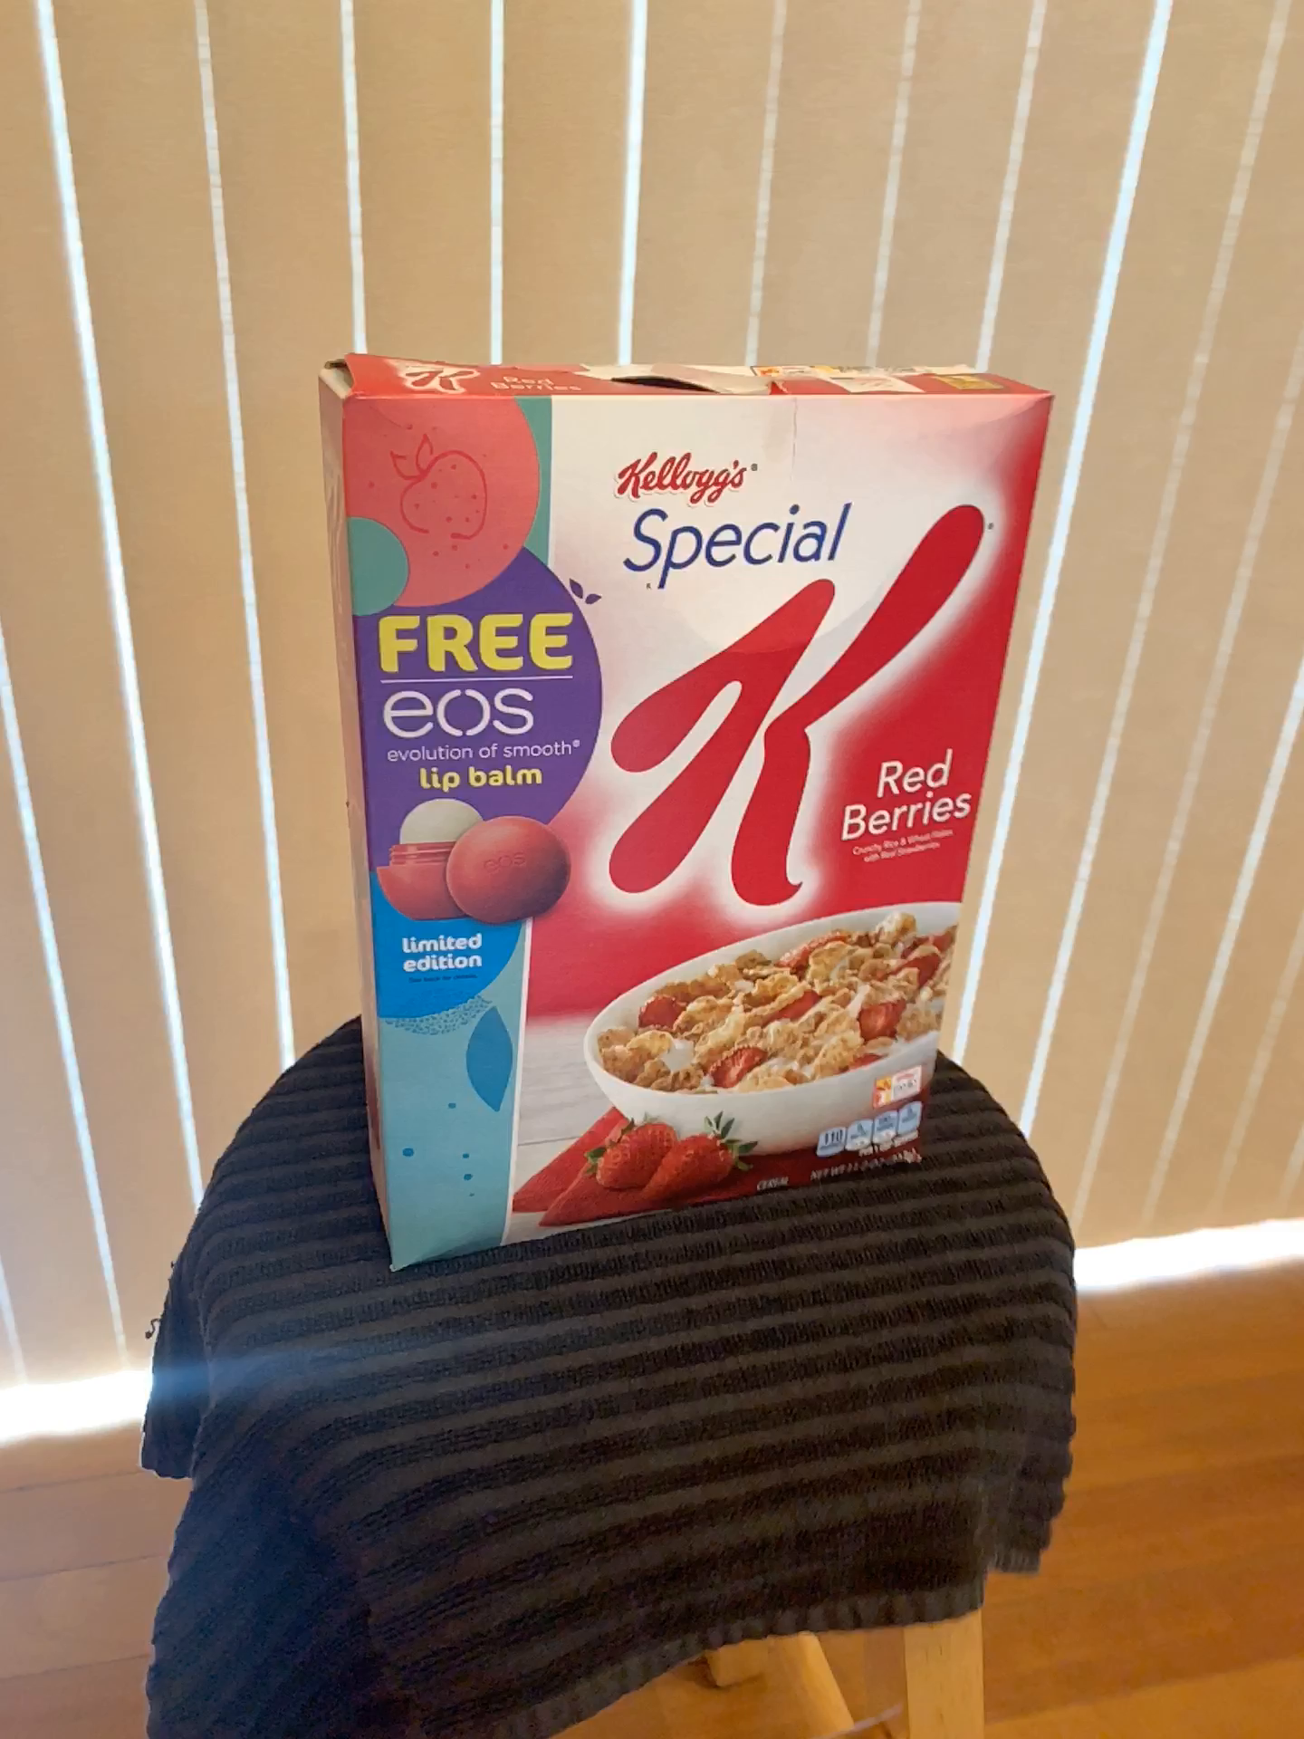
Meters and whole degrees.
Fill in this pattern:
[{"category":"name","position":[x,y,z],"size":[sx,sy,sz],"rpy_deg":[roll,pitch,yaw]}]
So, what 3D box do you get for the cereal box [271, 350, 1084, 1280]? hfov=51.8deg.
[{"category":"cereal box","position":[0.003,-0.013,0.415],"size":[0.210,0.268,0.050],"rpy_deg":[-7,29,-19]}]
